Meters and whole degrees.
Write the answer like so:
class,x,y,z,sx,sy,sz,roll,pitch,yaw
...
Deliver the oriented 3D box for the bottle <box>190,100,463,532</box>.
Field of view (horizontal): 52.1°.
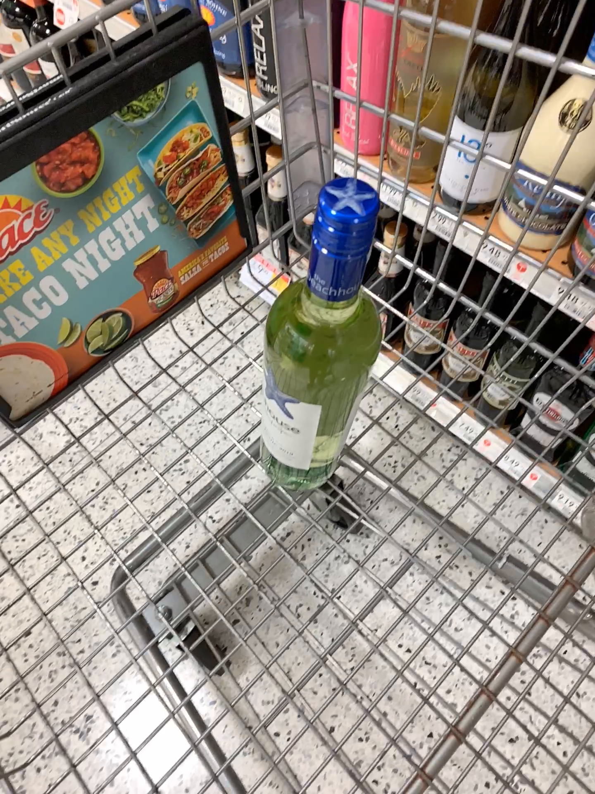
class,x,y,z,sx,sy,sz,roll,pitch,yaw
bottle,0.009,-0.016,0.428,0.090,0.338,0.090,1,61,-1
